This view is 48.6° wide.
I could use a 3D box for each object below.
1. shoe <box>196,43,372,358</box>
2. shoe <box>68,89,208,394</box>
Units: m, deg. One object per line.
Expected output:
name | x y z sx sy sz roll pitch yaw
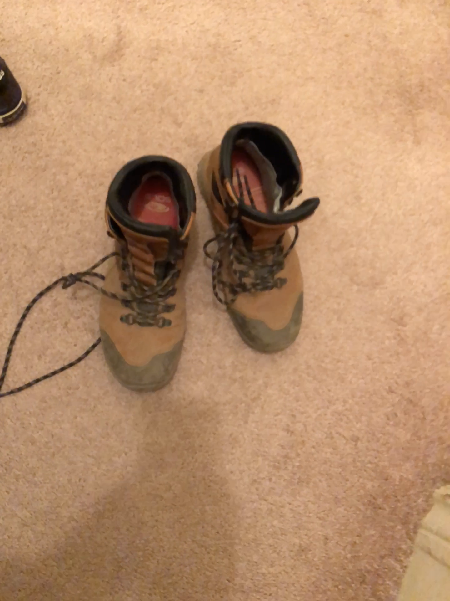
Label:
shoe | 0.050 -0.100 0.620 0.120 0.230 0.310 -8 80 -7
shoe | -0.093 -0.046 0.605 0.120 0.220 0.310 3 79 -5
